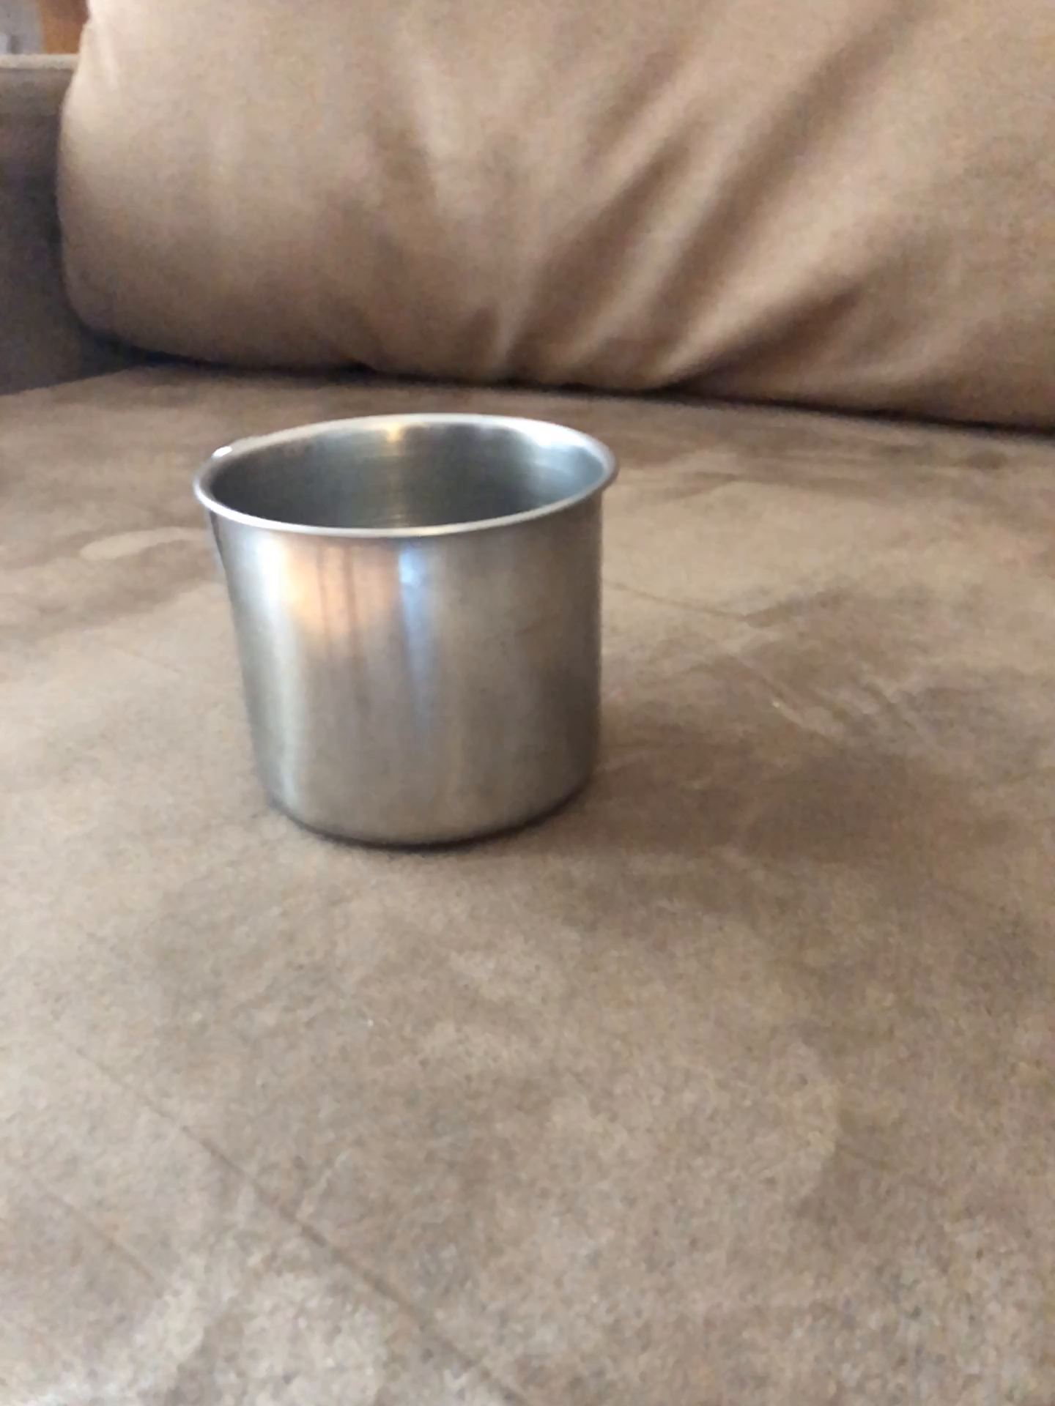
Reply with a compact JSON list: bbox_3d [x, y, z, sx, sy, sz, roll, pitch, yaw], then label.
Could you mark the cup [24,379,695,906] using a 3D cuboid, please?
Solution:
[{"bbox_3d":[-0.034,-0.024,0.264,0.110,0.070,0.090,17,32,33],"label":"cup"}]
